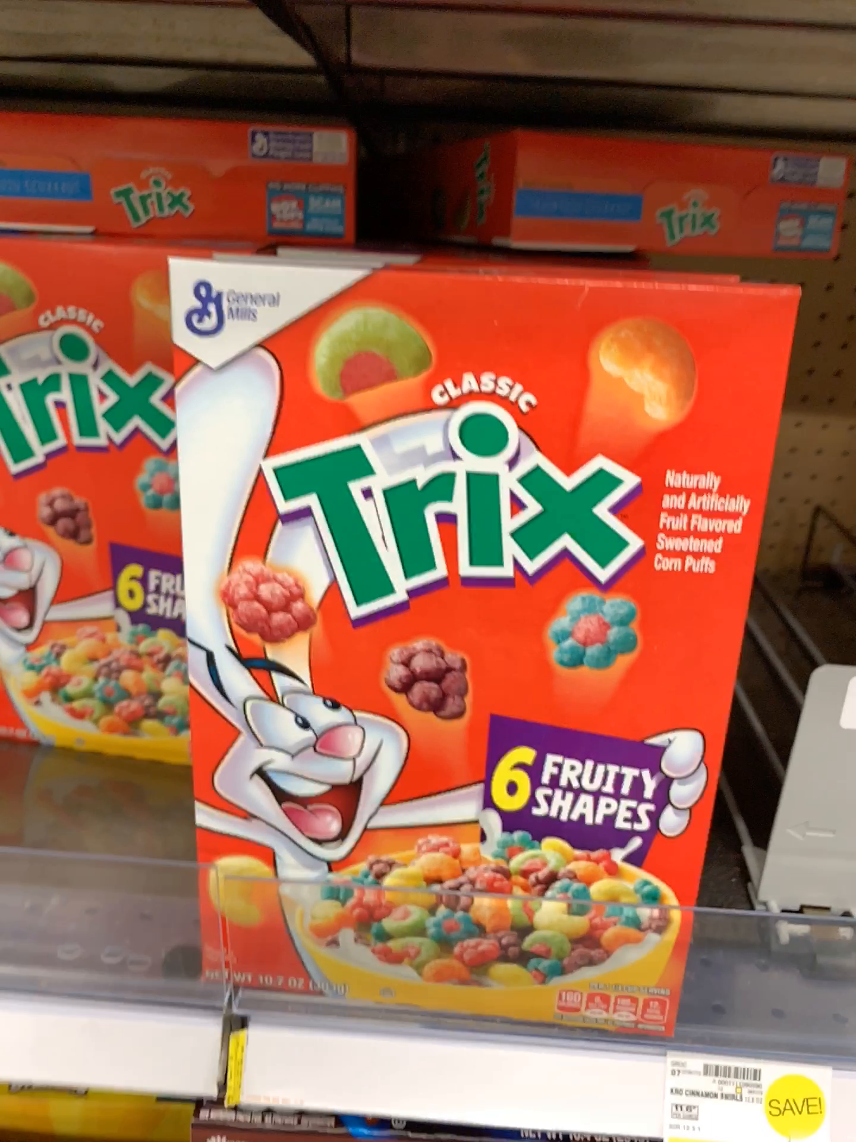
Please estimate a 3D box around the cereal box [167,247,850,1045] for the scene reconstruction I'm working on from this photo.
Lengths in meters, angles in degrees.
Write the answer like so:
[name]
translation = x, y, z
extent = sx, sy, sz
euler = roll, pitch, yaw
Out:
[cereal box]
translation = 0.016, 0.036, 0.340
extent = 0.200, 0.289, 0.060
euler = 4, 20, 3
